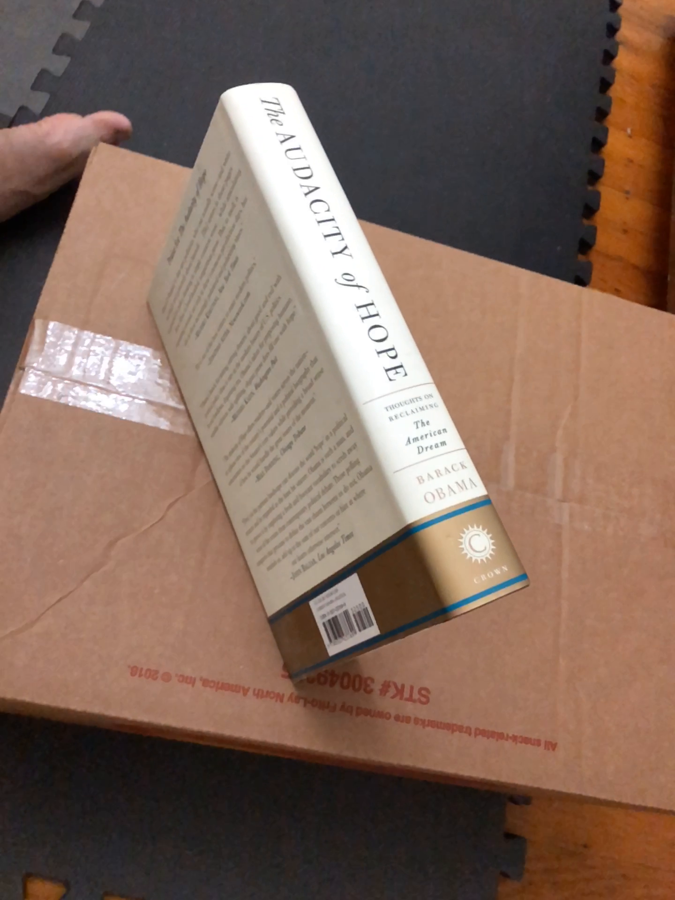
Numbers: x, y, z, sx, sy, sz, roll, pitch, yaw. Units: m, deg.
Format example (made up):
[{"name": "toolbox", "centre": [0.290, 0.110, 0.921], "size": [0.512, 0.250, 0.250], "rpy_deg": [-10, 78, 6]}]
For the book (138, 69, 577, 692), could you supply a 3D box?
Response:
[{"name": "book", "centre": [-0.014, -0.023, 0.373], "size": [0.060, 0.169, 0.250], "rpy_deg": [-14, 74, -31]}]
